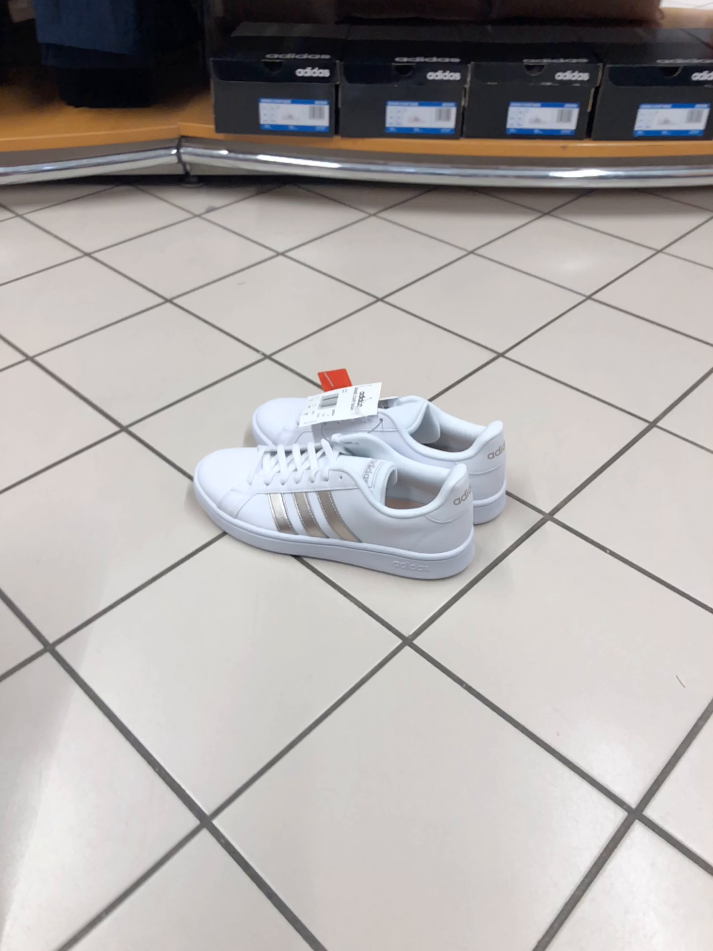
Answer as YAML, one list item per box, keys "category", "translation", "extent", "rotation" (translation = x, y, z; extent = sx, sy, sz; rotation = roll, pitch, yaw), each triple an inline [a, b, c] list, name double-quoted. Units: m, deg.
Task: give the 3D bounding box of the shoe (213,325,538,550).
- category: "shoe"
  translation: [0.014, -0.043, 0.745]
  extent: [0.280, 0.099, 0.101]
  rotation: [19, 43, 20]

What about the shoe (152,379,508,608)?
- category: "shoe"
  translation: [-0.022, 0.011, 0.688]
  extent: [0.280, 0.099, 0.101]
  rotation: [13, 42, 14]
